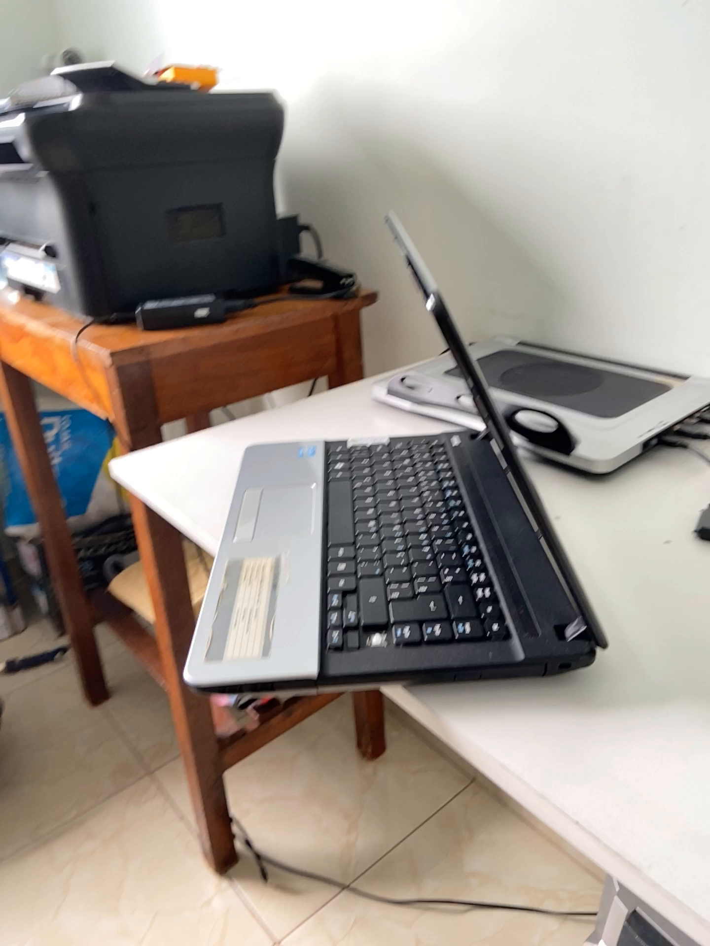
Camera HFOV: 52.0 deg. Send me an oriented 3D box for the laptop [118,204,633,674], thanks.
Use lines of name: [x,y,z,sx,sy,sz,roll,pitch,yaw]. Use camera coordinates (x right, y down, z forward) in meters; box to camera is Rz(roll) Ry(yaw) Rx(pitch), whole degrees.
laptop: [0.011,-0.058,0.527,0.238,0.211,0.328,-4,25,0]
